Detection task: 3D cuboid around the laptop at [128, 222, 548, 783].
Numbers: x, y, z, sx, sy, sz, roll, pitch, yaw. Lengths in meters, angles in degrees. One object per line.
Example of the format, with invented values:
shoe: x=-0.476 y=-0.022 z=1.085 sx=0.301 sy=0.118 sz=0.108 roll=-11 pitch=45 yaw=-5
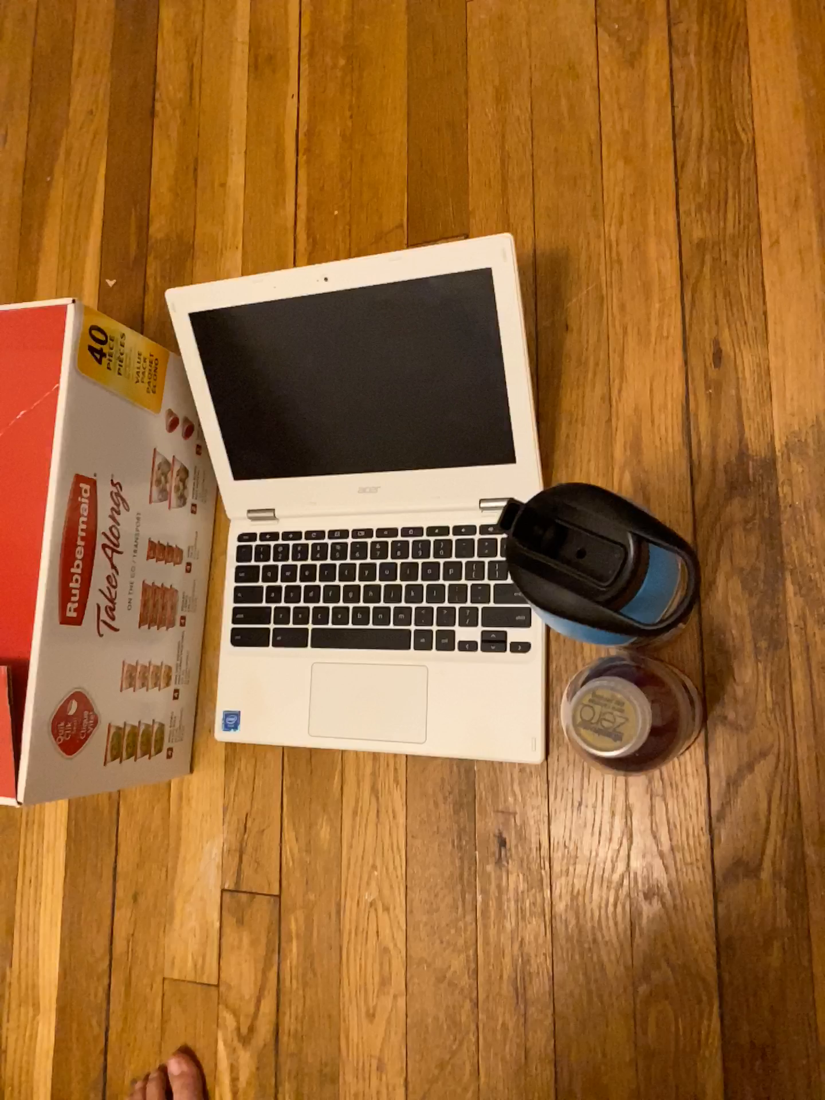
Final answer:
laptop: x=-0.053 y=-0.026 z=0.646 sx=0.289 sy=0.109 sz=0.364 roll=-1 pitch=82 yaw=24
